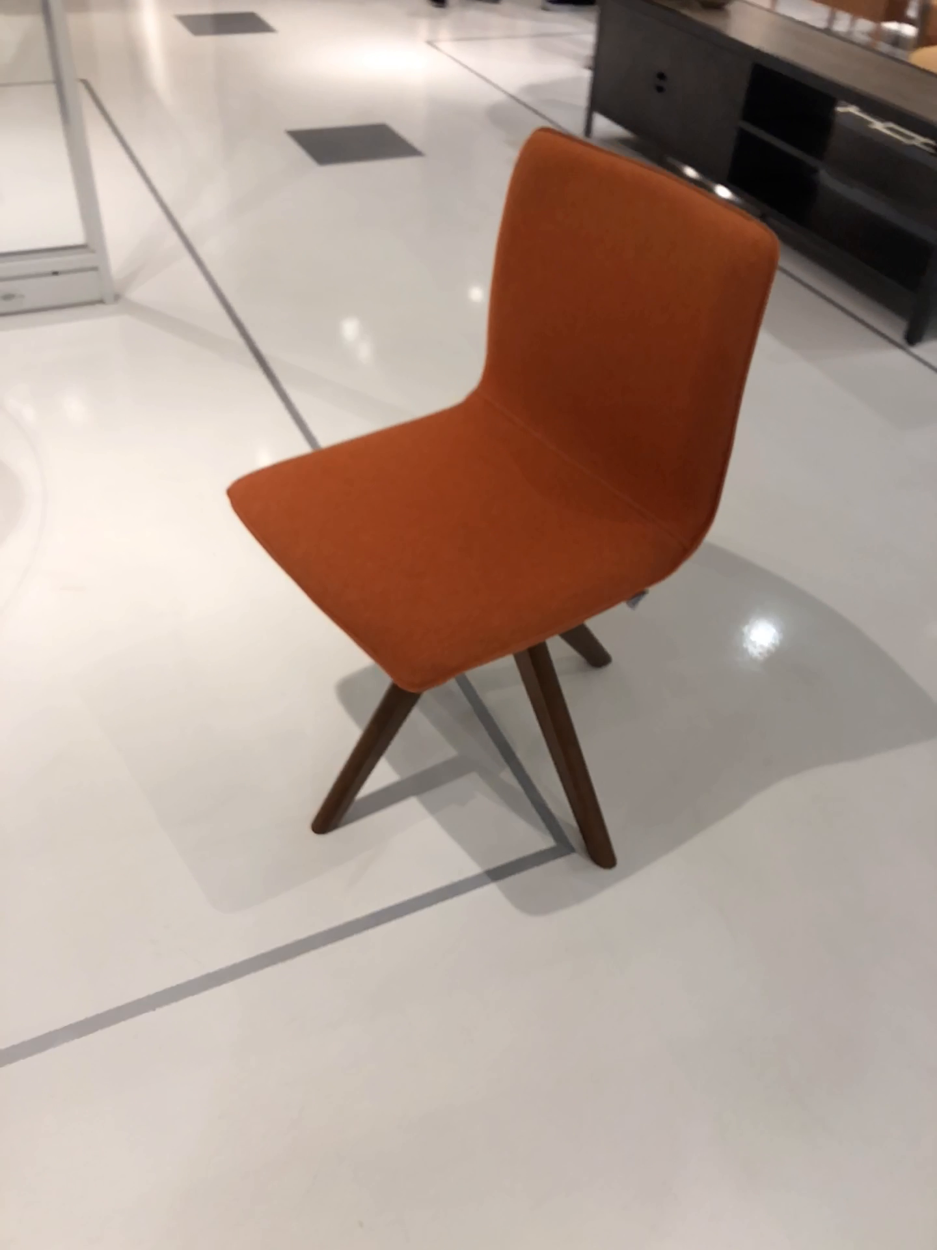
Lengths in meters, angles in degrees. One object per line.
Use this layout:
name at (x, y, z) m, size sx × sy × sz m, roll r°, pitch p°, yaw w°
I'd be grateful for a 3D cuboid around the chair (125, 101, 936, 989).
chair at (0.036, -0.131, 1.343) m, size 0.612 × 0.794 × 0.613 m, roll -24°, pitch 49°, yaw -28°
